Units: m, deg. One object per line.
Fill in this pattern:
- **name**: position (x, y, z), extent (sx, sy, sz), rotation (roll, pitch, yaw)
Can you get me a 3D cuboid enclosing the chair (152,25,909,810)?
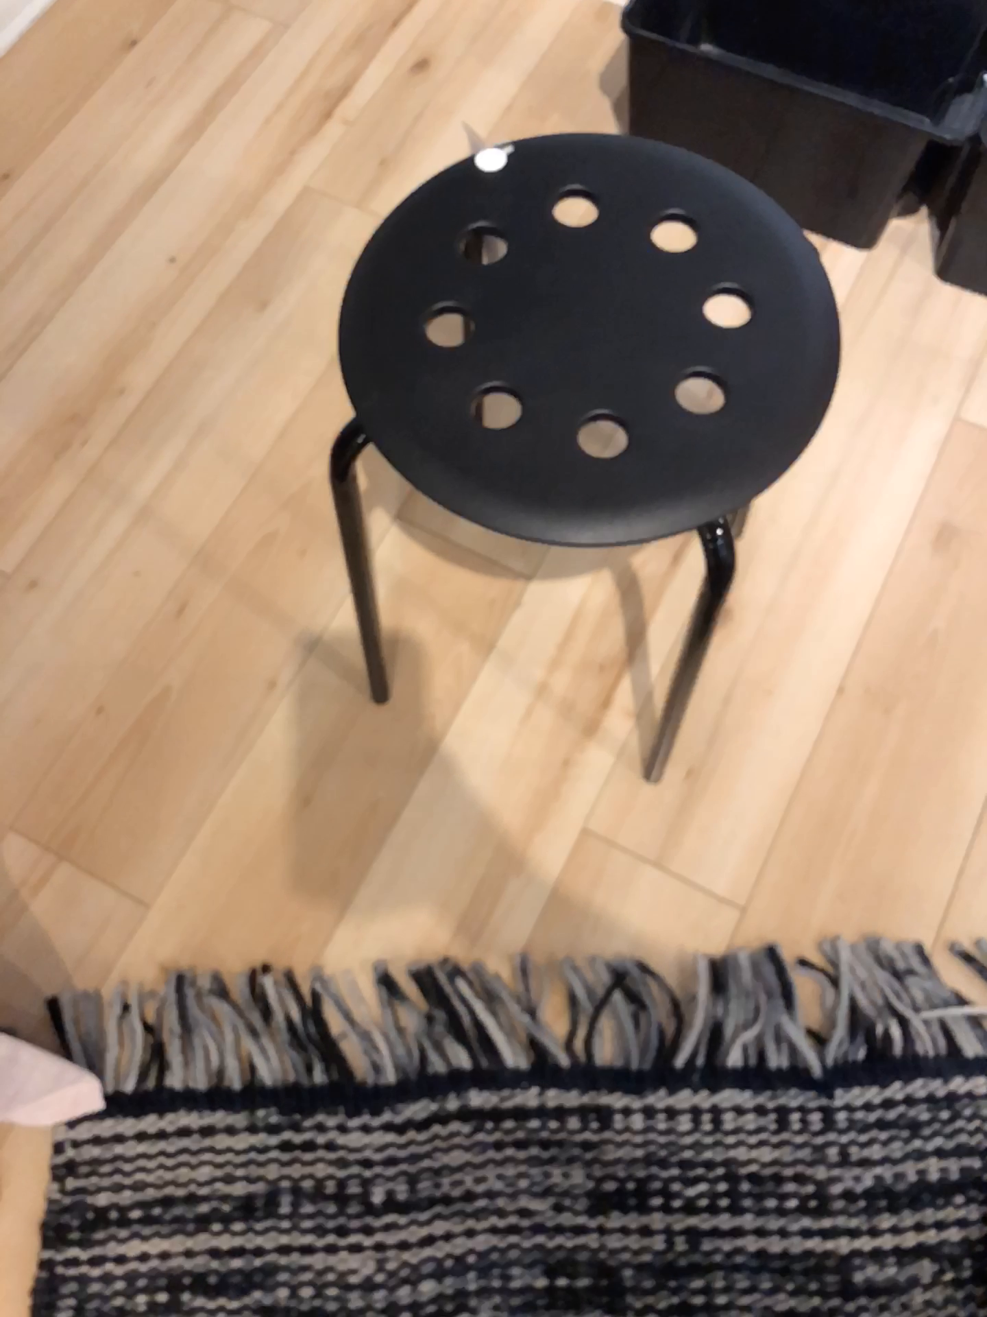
- **chair**: position (0.041, -0.161, 0.886), extent (0.380, 0.400, 0.370), rotation (18, 70, 9)
